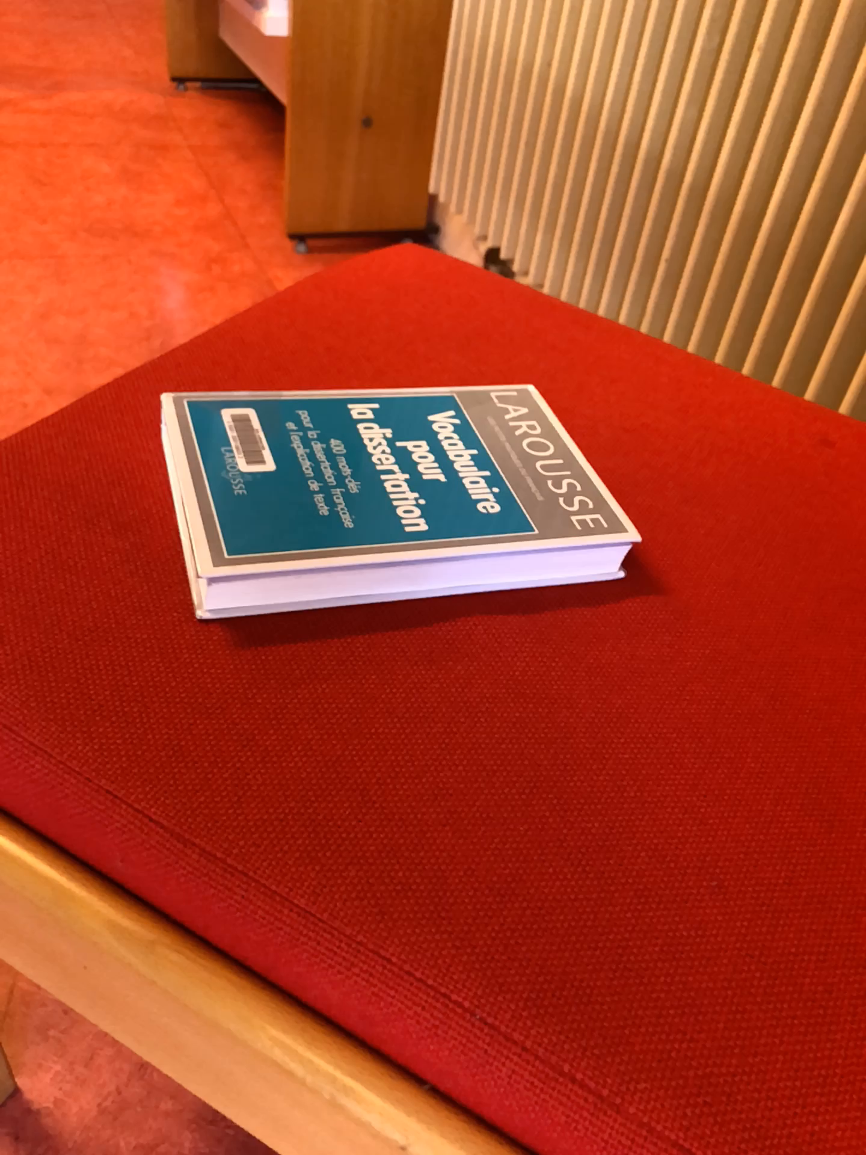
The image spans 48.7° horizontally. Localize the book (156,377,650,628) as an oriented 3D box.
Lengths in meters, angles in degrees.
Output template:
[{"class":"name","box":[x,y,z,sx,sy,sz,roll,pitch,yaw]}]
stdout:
[{"class":"book","box":[-0.020,-0.045,0.449,0.199,0.030,0.137,-5,42,-20]}]
